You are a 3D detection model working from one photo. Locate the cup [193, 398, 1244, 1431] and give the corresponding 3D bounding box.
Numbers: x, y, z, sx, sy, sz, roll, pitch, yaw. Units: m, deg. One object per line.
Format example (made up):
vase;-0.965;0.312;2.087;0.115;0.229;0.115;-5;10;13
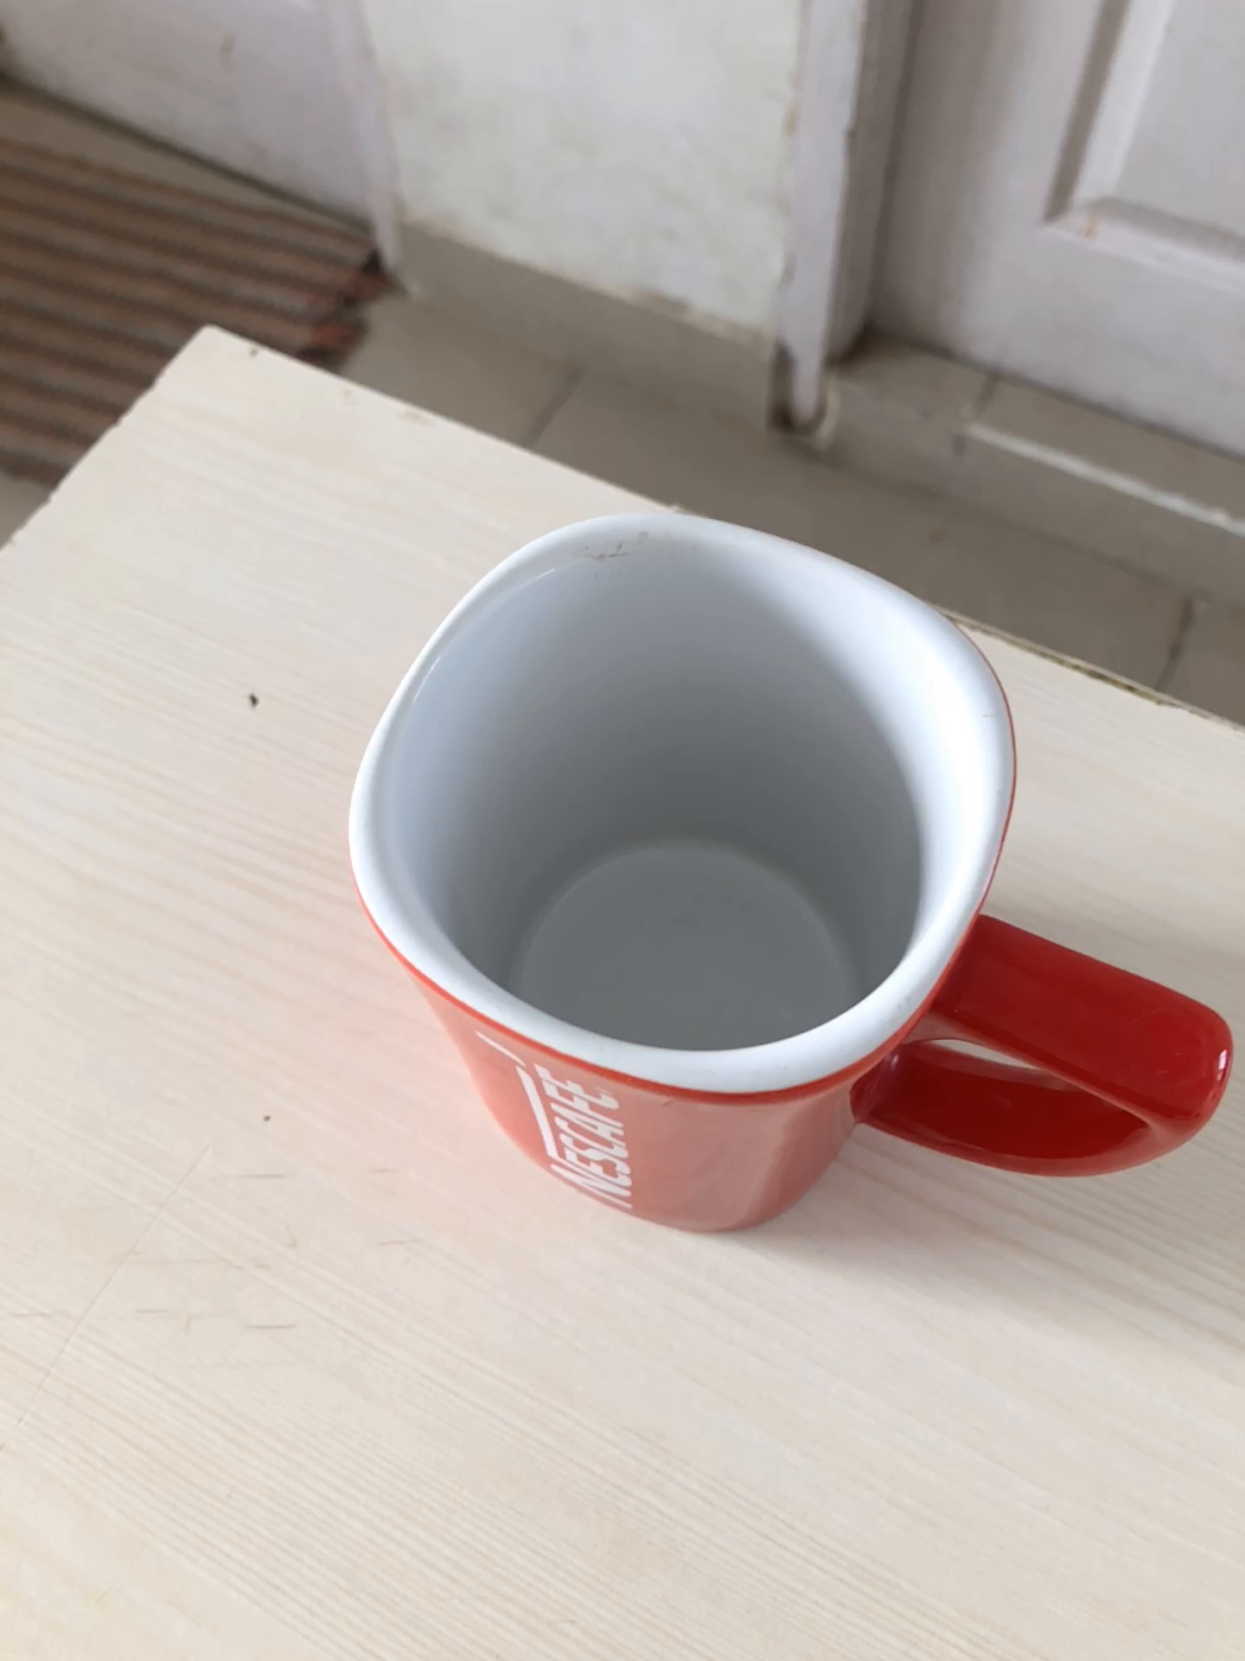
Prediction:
cup;0.022;0.016;0.196;0.110;0.090;0.080;22;65;13
